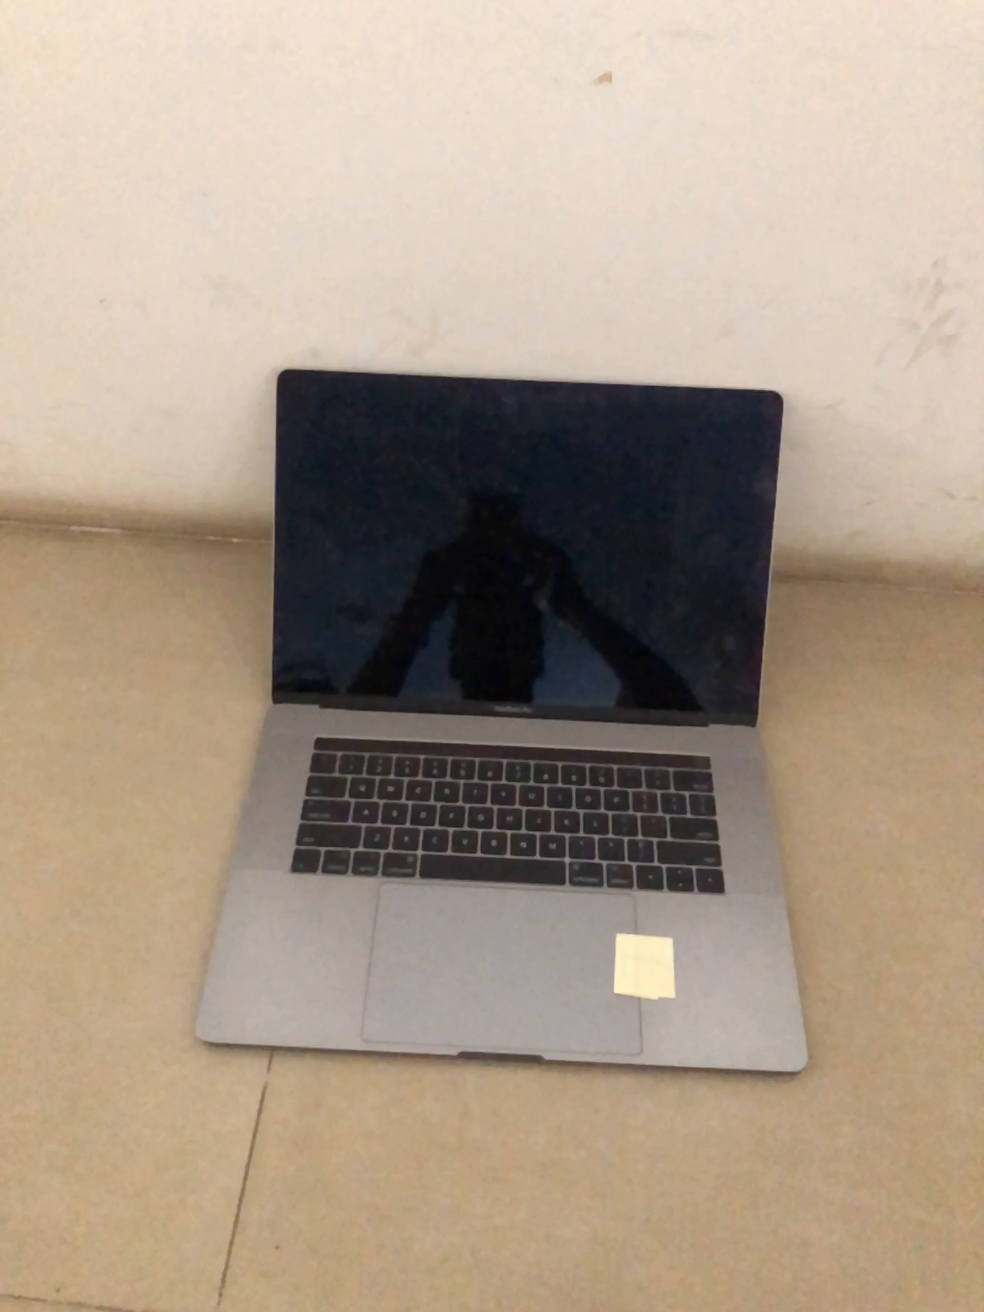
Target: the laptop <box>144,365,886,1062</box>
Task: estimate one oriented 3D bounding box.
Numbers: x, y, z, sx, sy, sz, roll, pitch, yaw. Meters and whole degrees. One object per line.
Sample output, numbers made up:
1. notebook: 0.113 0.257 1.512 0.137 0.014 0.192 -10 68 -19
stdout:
1. laptop: 0.015 0.016 0.661 0.329 0.163 0.382 3 51 1
